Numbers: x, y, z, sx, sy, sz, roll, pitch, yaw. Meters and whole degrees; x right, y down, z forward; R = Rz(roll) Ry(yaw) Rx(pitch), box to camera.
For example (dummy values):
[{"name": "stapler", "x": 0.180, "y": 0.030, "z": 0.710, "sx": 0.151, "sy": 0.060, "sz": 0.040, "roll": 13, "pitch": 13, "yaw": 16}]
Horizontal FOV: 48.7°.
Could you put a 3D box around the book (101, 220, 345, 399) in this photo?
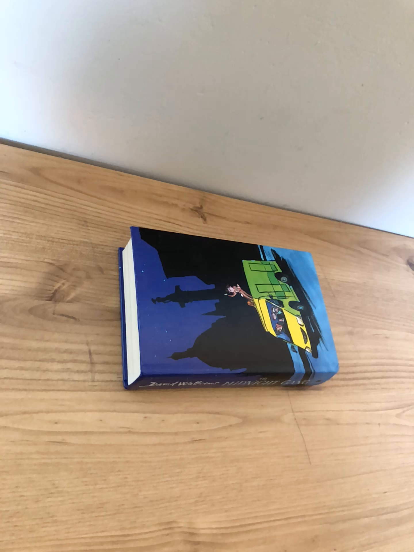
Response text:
[{"name": "book", "x": 0.017, "y": 0.039, "z": 0.478, "sx": 0.238, "sy": 0.060, "sz": 0.153, "roll": 5, "pitch": 64, "yaw": -28}]
